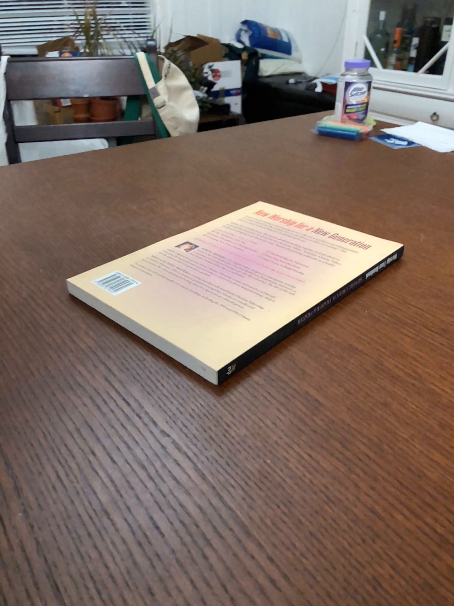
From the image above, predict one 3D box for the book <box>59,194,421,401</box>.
[{"bbox_3d":[0.022,-0.033,0.449,0.190,0.020,0.271,25,40,36],"label":"book"}]
